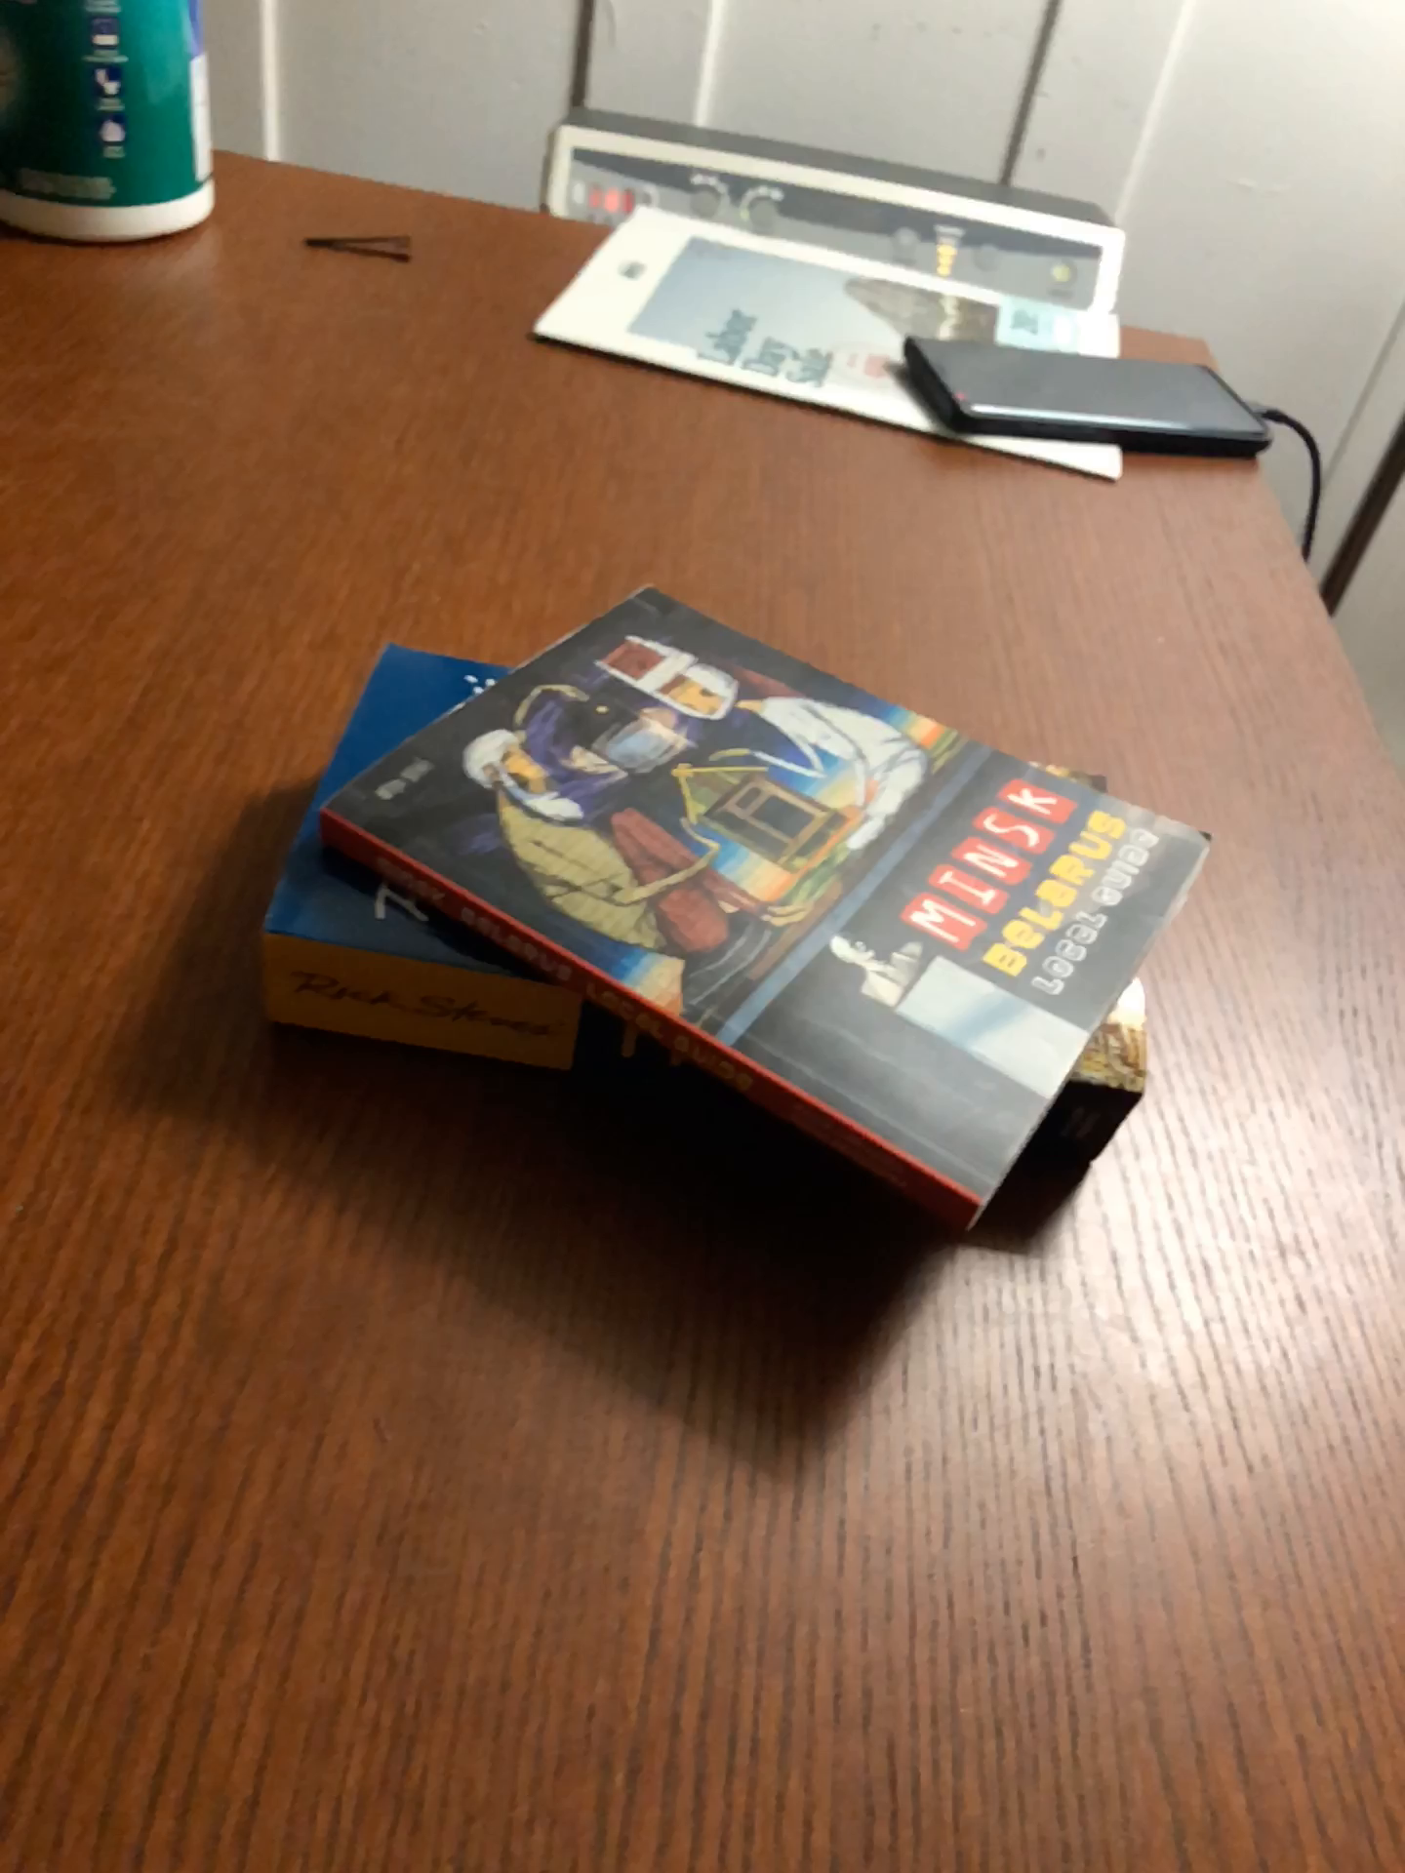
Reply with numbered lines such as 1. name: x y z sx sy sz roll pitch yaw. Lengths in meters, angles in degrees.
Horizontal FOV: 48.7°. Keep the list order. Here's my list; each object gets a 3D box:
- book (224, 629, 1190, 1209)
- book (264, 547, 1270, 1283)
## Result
1. book: 0.005 -0.010 0.410 0.220 0.040 0.131 10 41 -3
2. book: 0.022 -0.023 0.369 0.190 0.020 0.151 28 44 17
